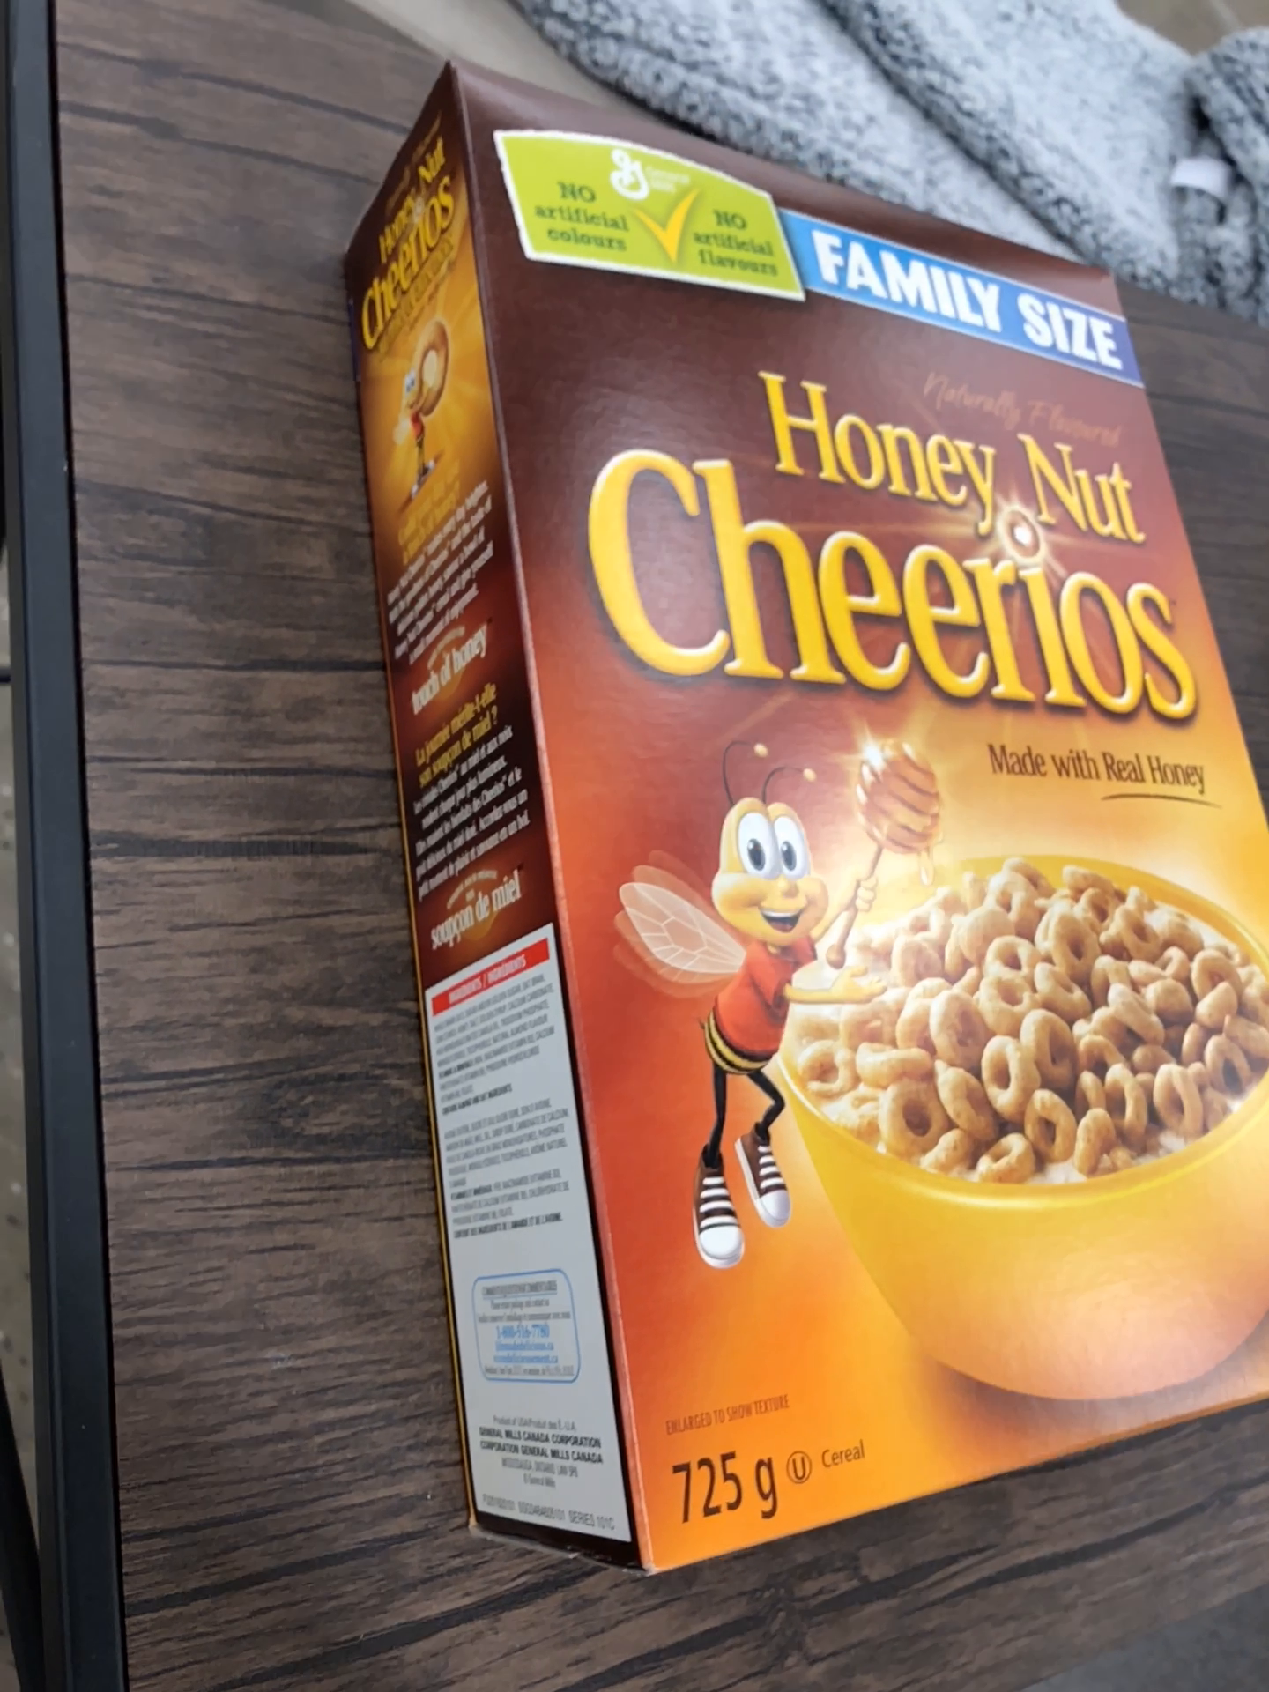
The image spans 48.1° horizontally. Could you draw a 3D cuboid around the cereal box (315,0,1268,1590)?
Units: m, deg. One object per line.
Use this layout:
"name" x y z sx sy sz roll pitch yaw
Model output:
"cereal box" 0.061 -0.039 0.391 0.251 0.080 0.380 1 72 -30
